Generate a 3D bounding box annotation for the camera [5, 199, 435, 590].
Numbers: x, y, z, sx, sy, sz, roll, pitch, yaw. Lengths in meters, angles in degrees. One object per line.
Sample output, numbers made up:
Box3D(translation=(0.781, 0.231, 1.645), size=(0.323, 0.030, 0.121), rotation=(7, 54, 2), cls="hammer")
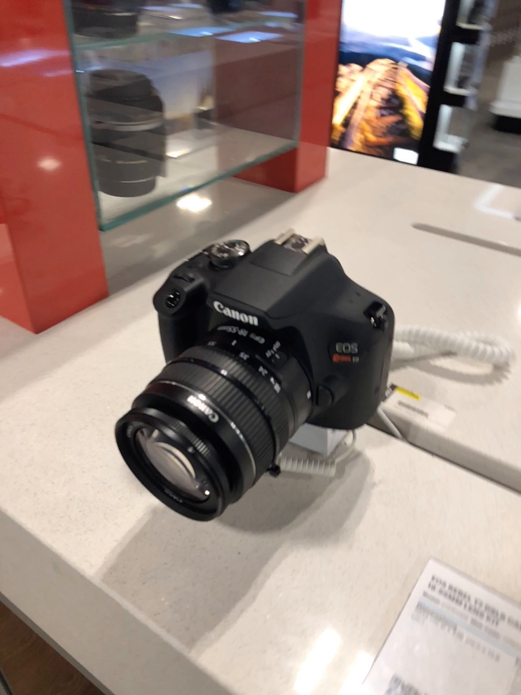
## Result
Box3D(translation=(-0.011, 0.005, 0.294), size=(0.140, 0.089, 0.151), rotation=(21, 40, 26), cls="camera")
